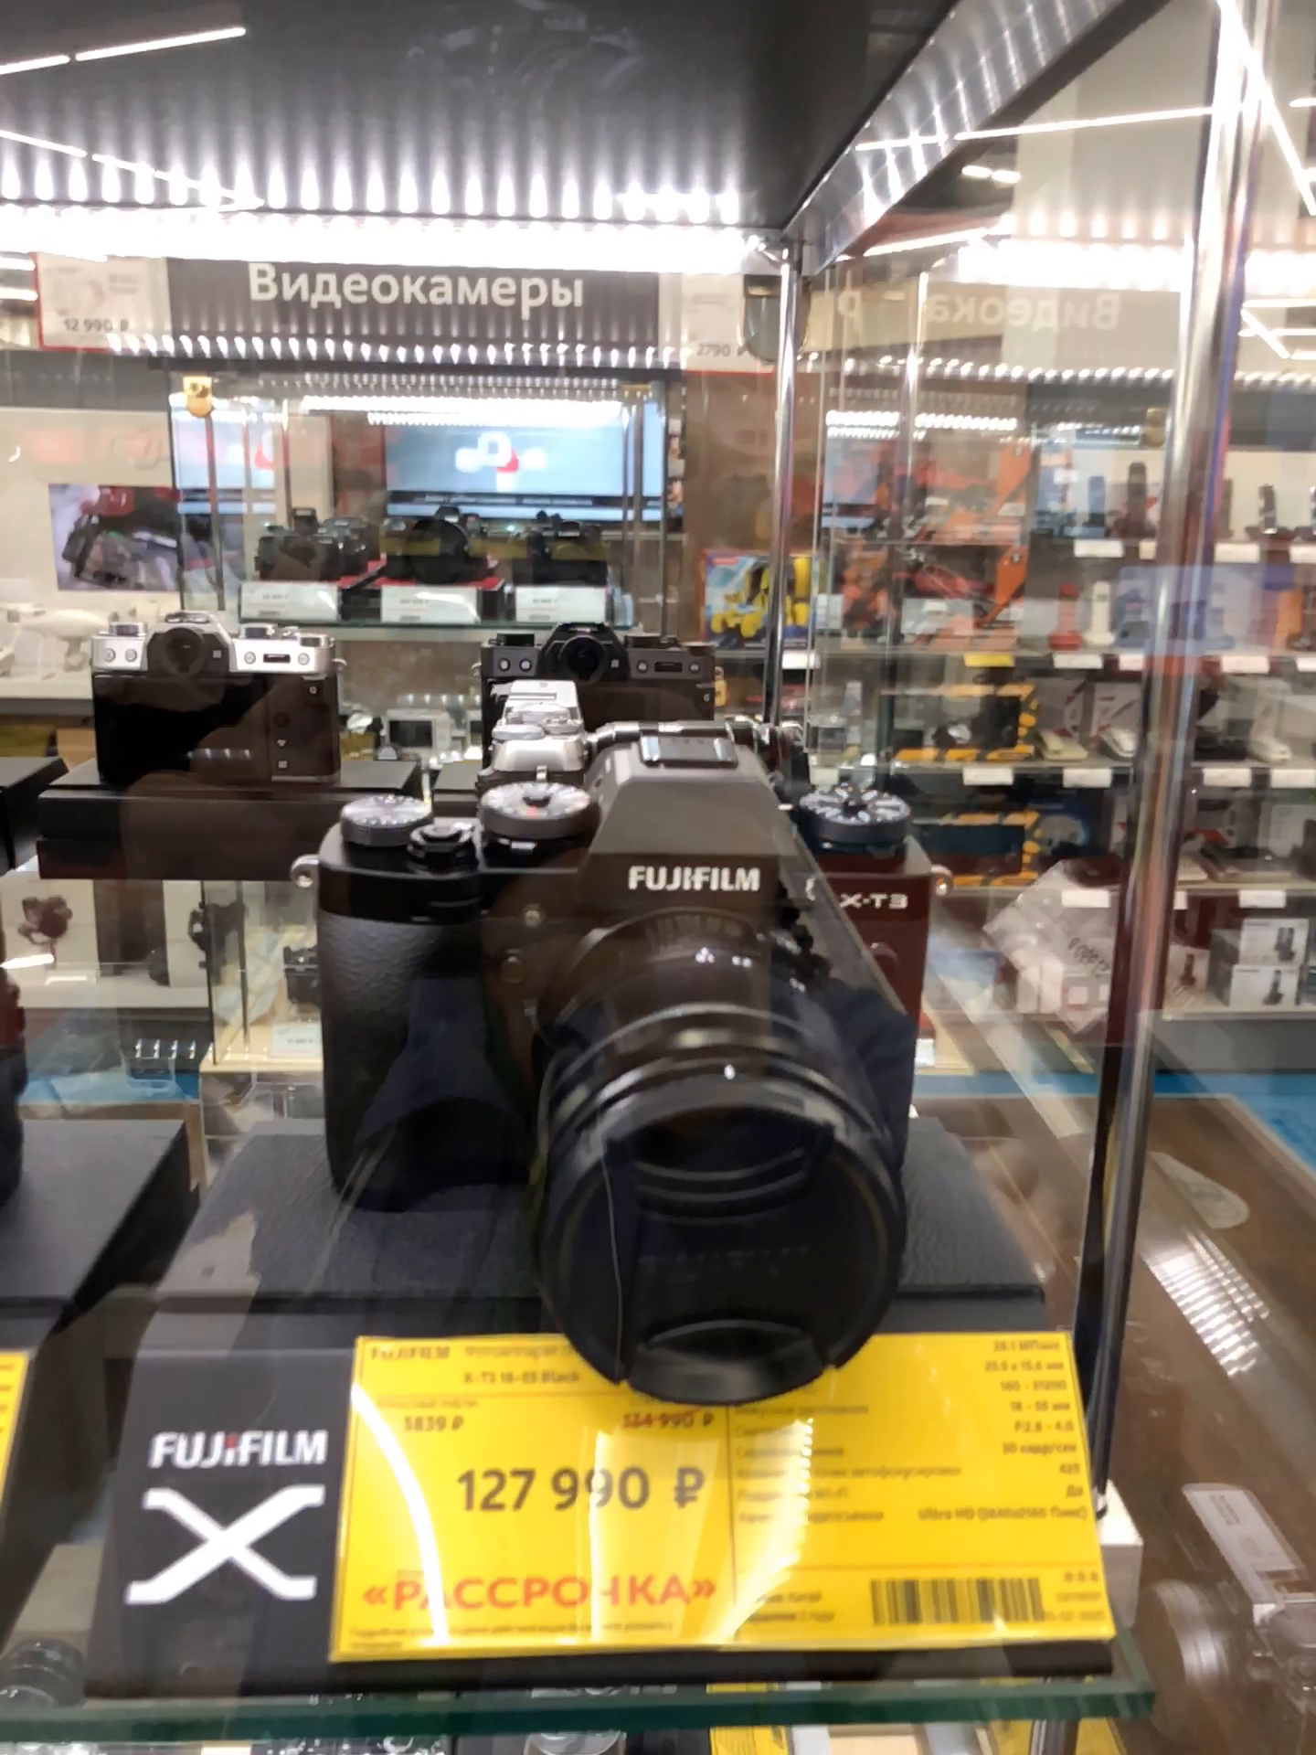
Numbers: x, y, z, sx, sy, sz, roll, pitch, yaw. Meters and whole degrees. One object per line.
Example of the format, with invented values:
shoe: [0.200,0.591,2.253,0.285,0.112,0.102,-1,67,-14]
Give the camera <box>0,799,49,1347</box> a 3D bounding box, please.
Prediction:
camera: [-0.201,0.035,0.289,0.125,0.088,0.066,0,15,-3]

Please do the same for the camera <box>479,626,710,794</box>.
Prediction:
camera: [-0.031,-0.084,0.721,0.109,0.074,0.056,1,15,0]

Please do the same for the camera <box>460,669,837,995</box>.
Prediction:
camera: [-0.005,-0.021,0.514,0.115,0.088,0.125,1,15,-2]

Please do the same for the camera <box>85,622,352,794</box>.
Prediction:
camera: [-0.210,-0.084,0.705,0.109,0.074,0.056,1,15,0]

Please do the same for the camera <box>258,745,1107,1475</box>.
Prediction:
camera: [-0.001,0.033,0.288,0.129,0.100,0.120,0,15,-5]
